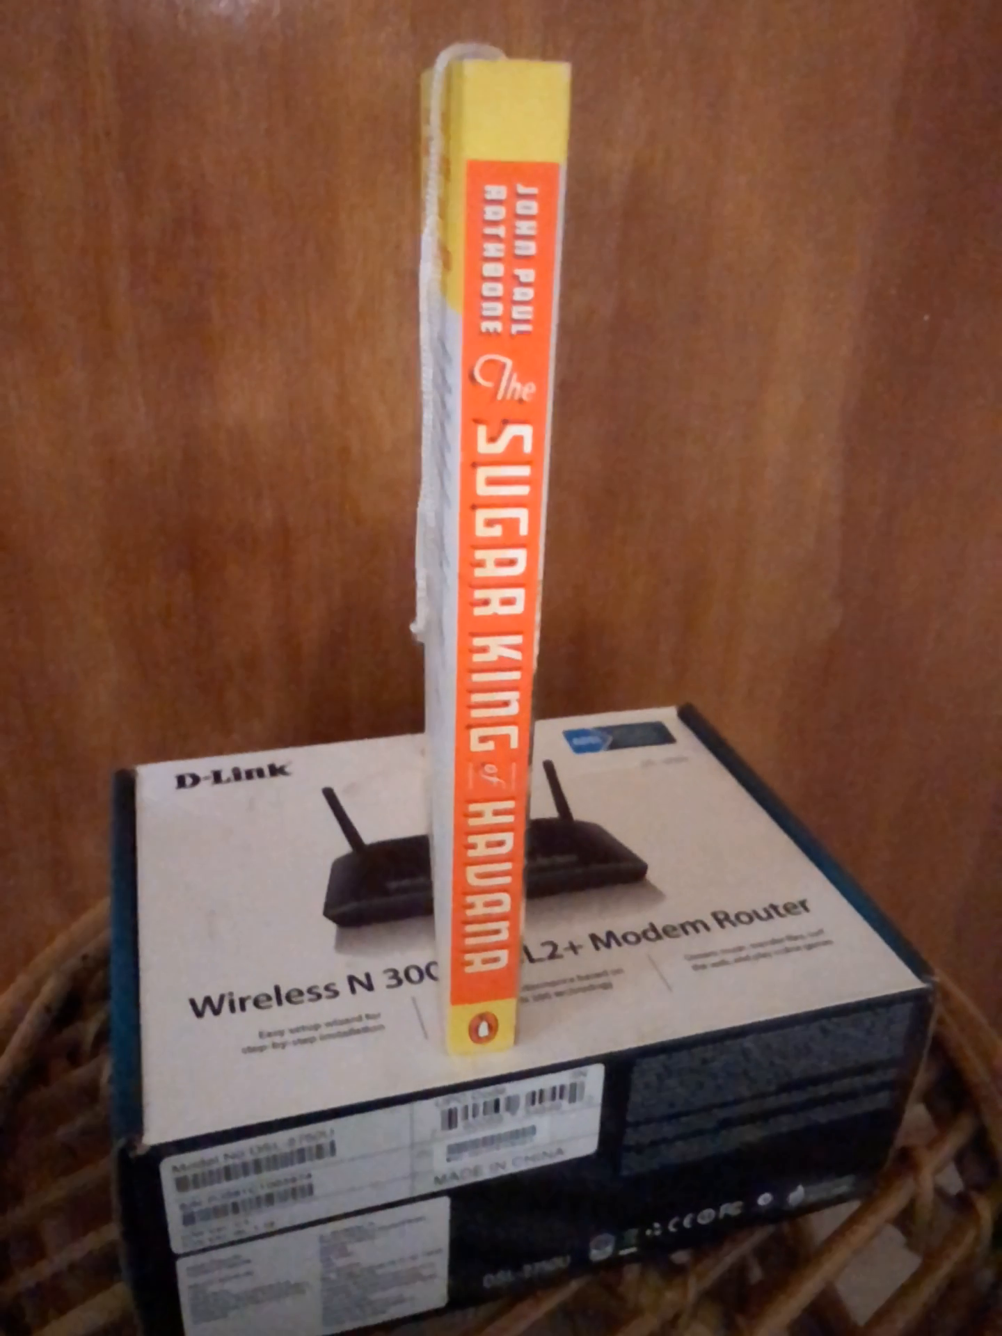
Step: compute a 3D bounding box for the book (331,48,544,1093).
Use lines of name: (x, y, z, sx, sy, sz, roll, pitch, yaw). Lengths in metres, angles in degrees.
book: (-0.013, -0.031, 0.274, 0.030, 0.209, 0.151, -1, 28, -2)
